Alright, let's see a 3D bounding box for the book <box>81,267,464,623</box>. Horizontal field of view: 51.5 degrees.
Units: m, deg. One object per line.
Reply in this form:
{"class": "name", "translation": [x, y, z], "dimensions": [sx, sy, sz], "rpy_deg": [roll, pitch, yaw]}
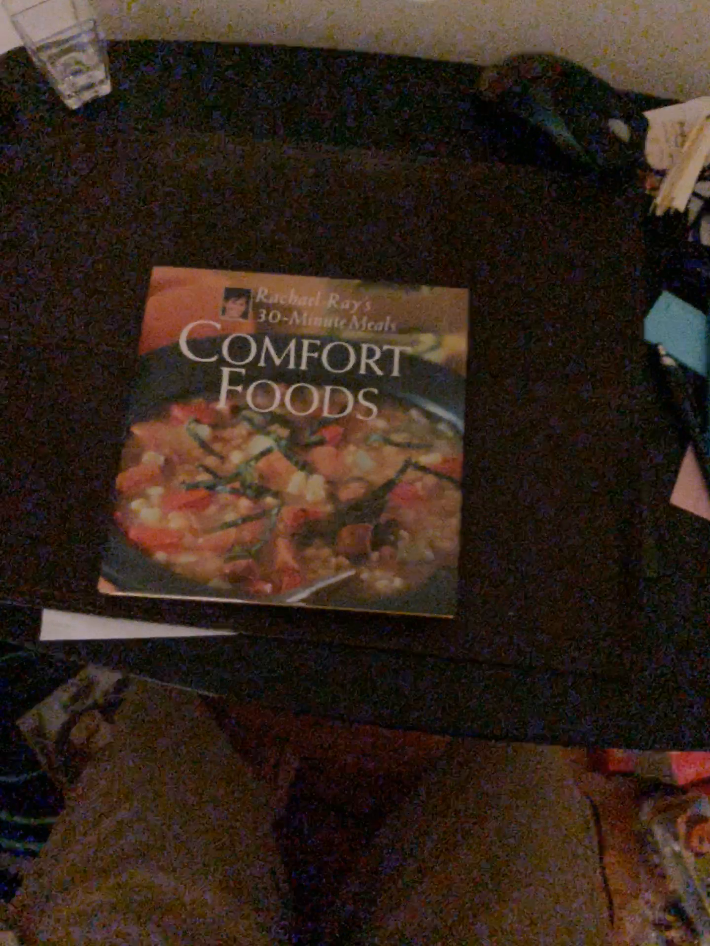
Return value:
{"class": "book", "translation": [-0.040, -0.022, 0.431], "dimensions": [0.200, 0.020, 0.200], "rpy_deg": [4, 73, 1]}
